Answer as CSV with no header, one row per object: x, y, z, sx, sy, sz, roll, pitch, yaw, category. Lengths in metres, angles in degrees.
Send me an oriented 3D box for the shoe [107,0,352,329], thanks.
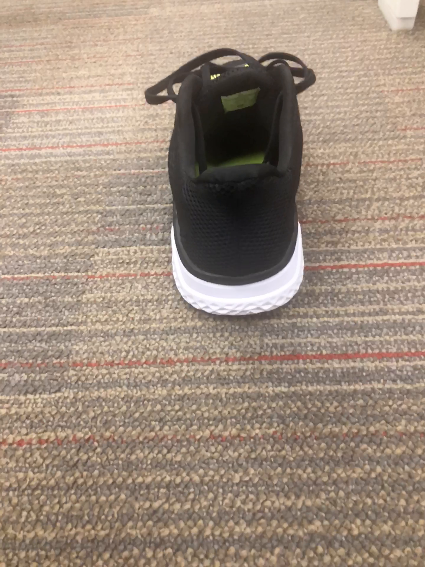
0.016,-0.113,0.364,0.120,0.100,0.291,0,49,4,shoe
